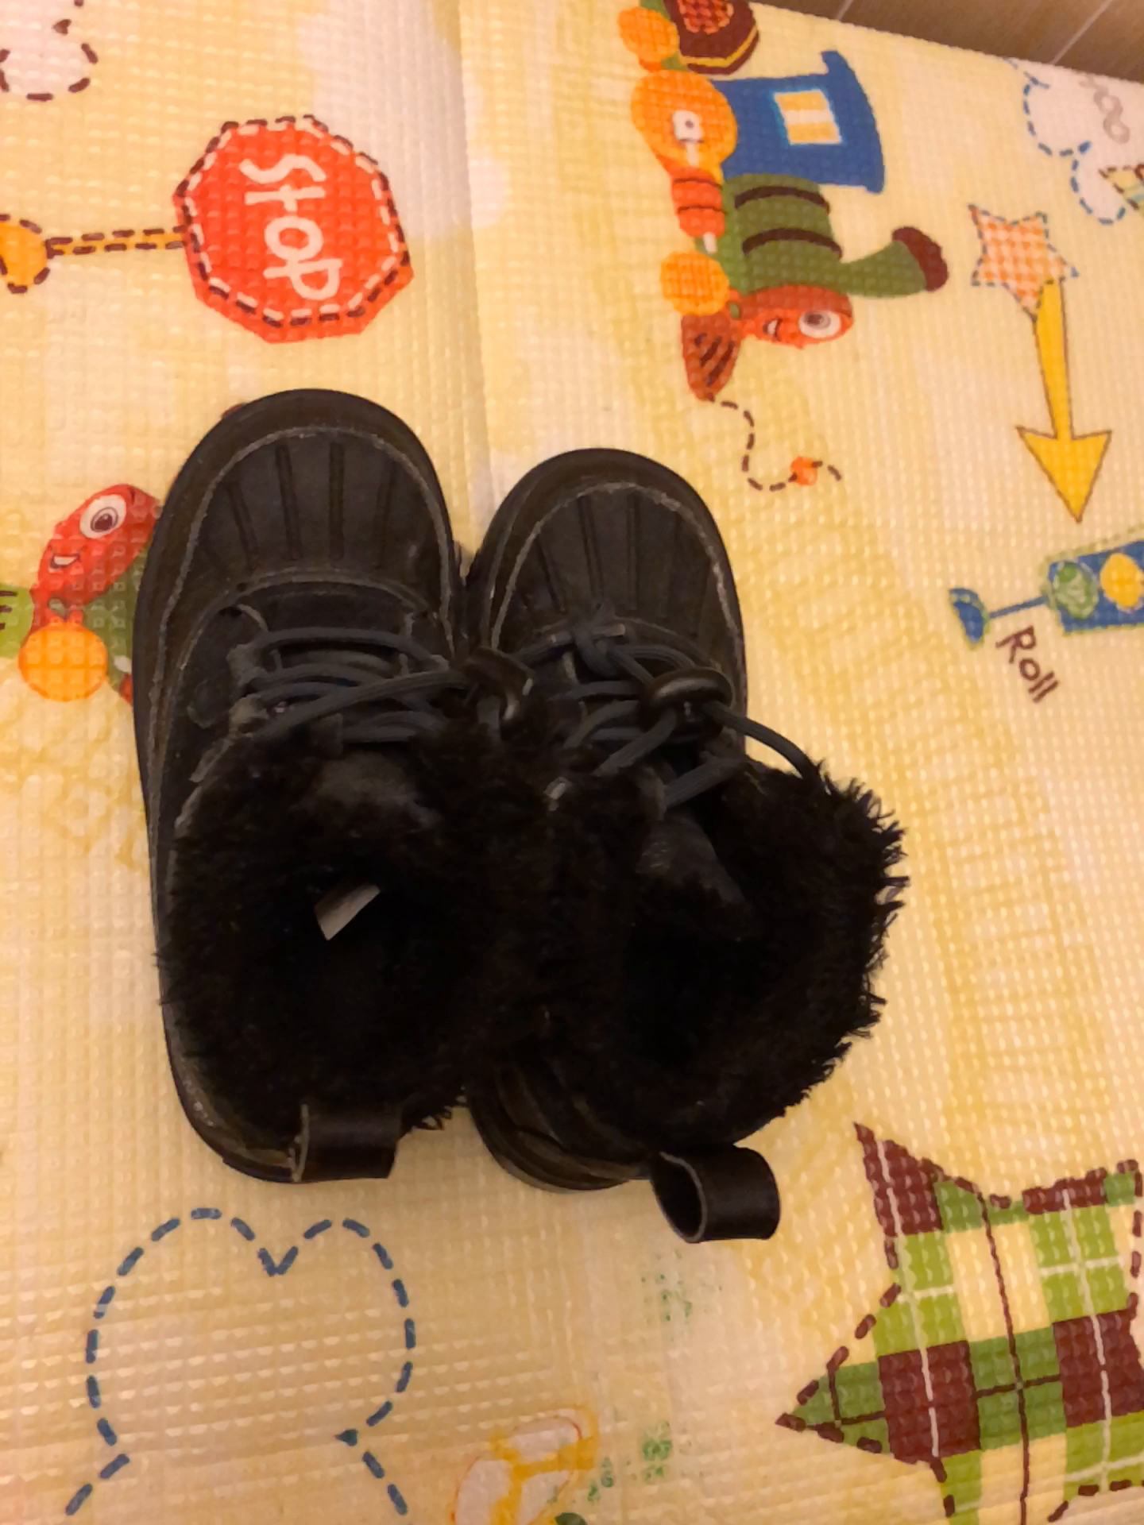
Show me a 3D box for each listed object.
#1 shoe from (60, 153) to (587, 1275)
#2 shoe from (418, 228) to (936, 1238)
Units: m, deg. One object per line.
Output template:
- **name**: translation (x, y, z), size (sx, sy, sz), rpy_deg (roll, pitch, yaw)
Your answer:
- **shoe**: translation (-0.058, -0.004, 0.298), size (0.090, 0.120, 0.210), rpy_deg (4, 77, -17)
- **shoe**: translation (0.024, -0.001, 0.332), size (0.090, 0.110, 0.220), rpy_deg (7, 76, -16)
